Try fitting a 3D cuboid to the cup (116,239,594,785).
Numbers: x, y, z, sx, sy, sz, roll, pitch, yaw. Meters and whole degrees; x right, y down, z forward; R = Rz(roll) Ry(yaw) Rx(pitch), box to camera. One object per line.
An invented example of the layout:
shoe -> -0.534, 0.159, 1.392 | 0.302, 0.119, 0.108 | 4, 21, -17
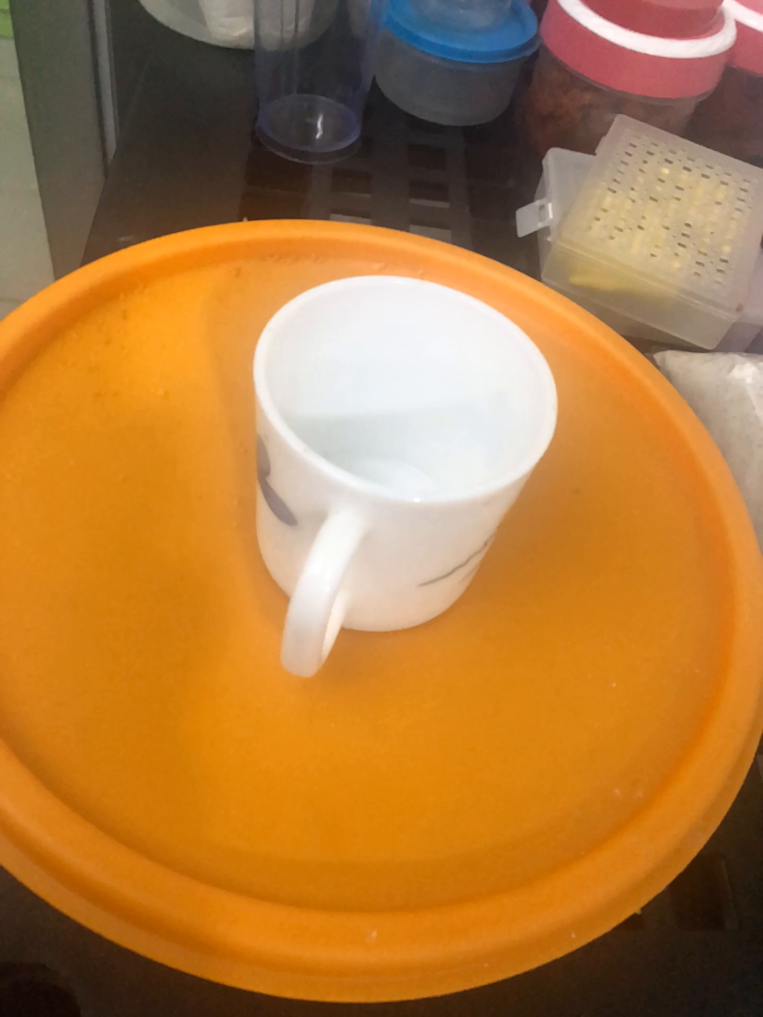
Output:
cup -> -0.004, -0.001, 0.222 | 0.080, 0.070, 0.100 | 21, 54, 4
